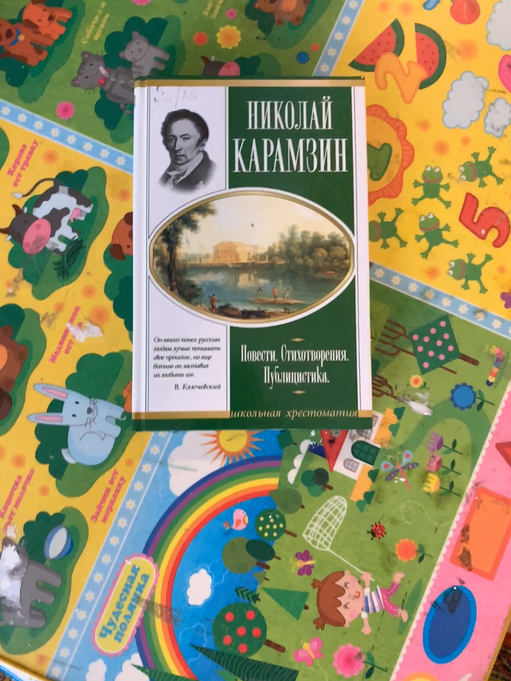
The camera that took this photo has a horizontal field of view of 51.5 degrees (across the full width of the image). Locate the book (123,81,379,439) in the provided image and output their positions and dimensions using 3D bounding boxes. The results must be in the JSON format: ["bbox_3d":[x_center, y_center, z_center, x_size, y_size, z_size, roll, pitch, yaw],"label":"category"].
[{"bbox_3d":[-0.003,-0.045,0.298,0.136,0.020,0.197,0,86,0],"label":"book"}]
